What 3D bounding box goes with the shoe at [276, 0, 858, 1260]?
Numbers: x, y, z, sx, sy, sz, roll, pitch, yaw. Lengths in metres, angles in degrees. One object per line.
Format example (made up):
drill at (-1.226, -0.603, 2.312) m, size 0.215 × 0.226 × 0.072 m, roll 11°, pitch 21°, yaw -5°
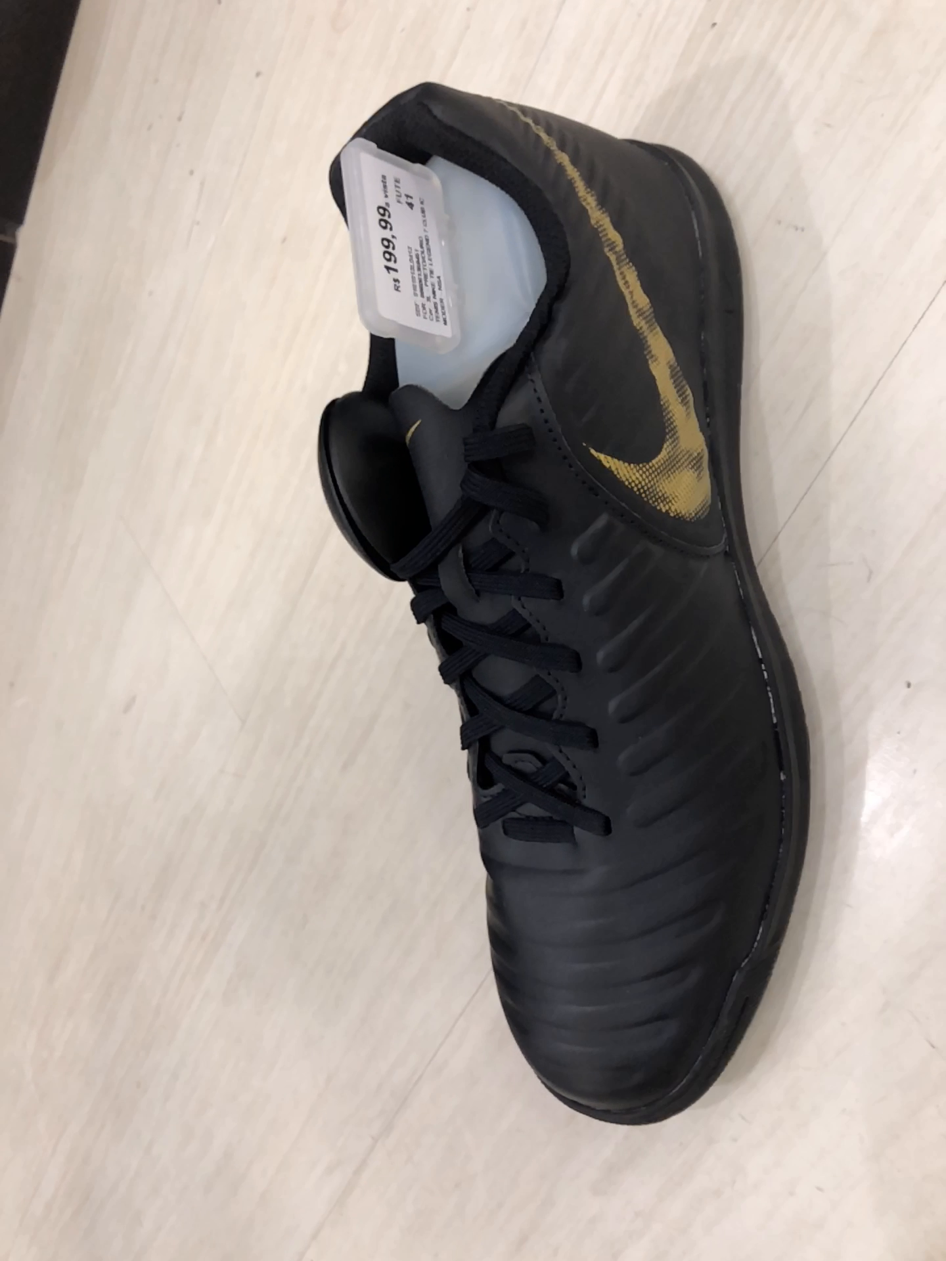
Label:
shoe at (0.021, -0.006, 0.287) m, size 0.101 × 0.109 × 0.290 m, roll -8°, pitch 81°, yaw 48°
